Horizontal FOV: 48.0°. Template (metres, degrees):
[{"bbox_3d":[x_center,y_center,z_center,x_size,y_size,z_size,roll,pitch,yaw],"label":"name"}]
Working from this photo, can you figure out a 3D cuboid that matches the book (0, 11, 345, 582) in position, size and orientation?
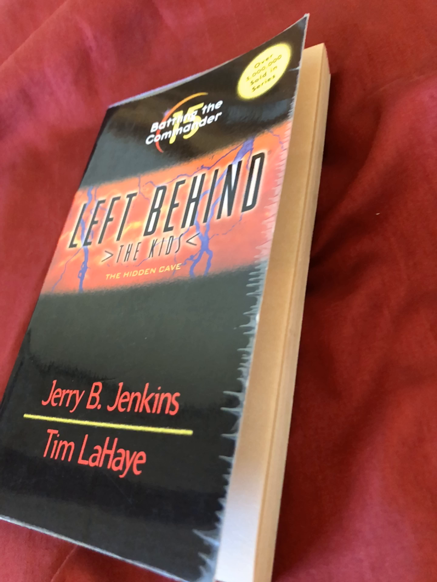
[{"bbox_3d":[-0.023,-0.007,0.168,0.111,0.026,0.170,-3,63,33],"label":"book"}]
